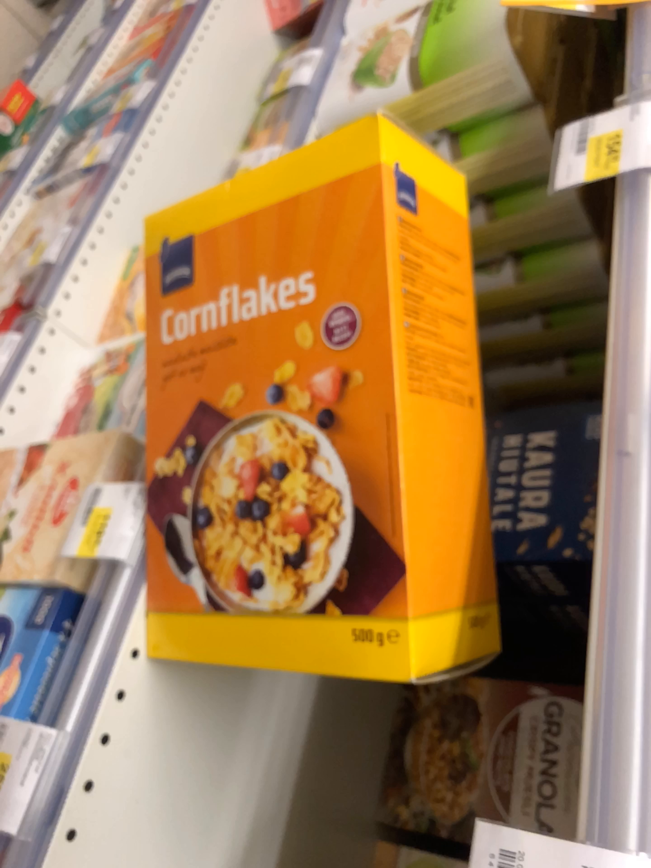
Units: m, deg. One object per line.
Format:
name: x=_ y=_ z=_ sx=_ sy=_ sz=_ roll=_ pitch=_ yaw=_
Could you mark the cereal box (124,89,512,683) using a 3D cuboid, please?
cereal box: x=-0.012 y=-0.015 z=0.457 sx=0.121 sy=0.199 sz=0.290 roll=9 pitch=77 yaw=-52
